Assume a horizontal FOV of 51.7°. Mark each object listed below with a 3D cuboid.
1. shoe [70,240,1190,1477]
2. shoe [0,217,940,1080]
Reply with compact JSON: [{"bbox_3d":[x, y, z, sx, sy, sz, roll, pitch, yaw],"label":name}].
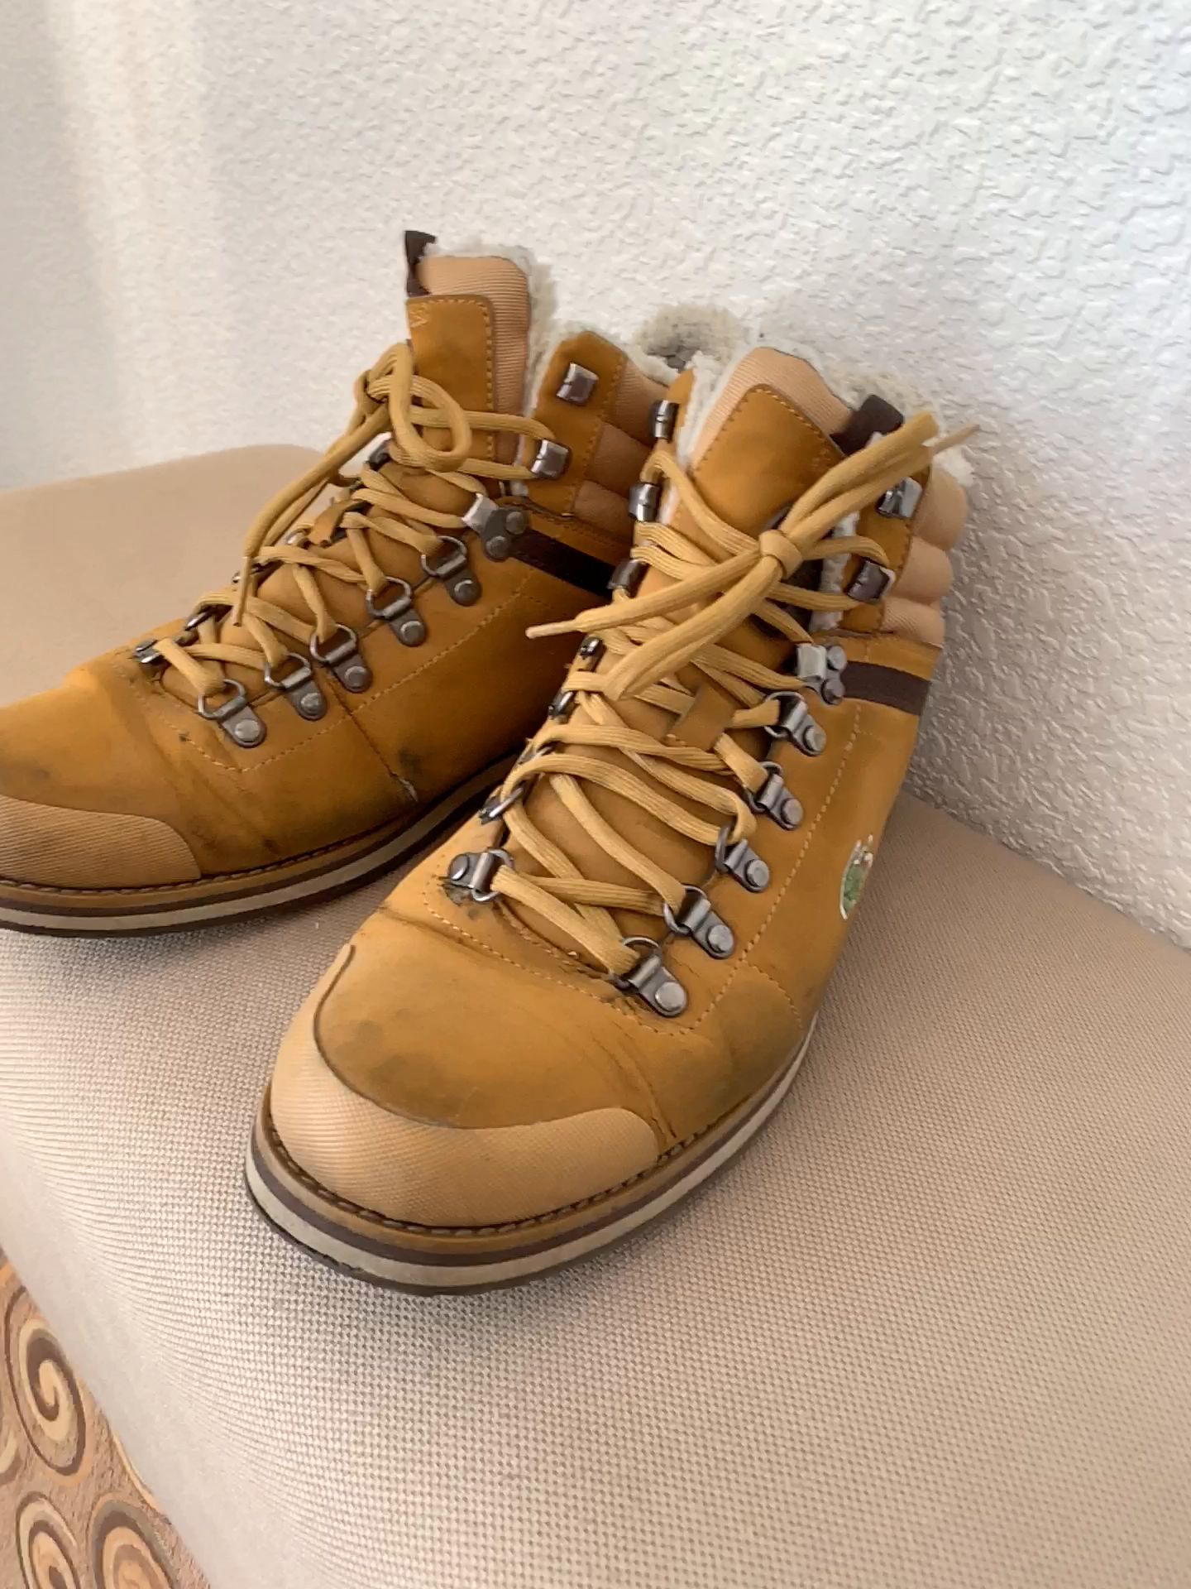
[{"bbox_3d":[0.042,-0.023,0.321,0.120,0.149,0.301,23,42,22],"label":"shoe"},{"bbox_3d":[-0.053,-0.070,0.377,0.300,0.149,0.120,-24,46,-33],"label":"shoe"}]
